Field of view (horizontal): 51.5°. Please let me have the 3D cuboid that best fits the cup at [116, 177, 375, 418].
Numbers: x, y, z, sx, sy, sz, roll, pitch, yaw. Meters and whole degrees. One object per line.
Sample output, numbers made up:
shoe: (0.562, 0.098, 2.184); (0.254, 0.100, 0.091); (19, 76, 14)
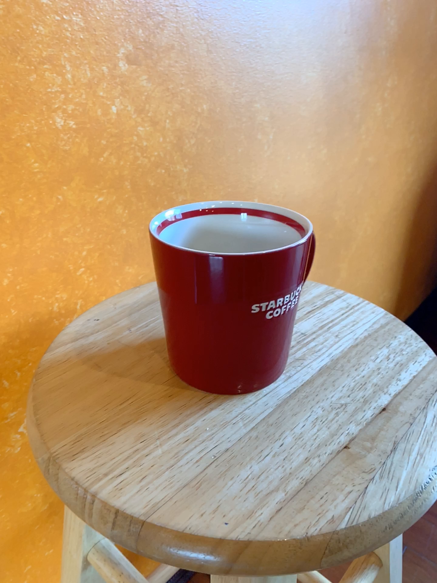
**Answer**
cup: (0.021, -0.010, 0.317); (0.100, 0.099, 0.140); (24, 36, 39)
